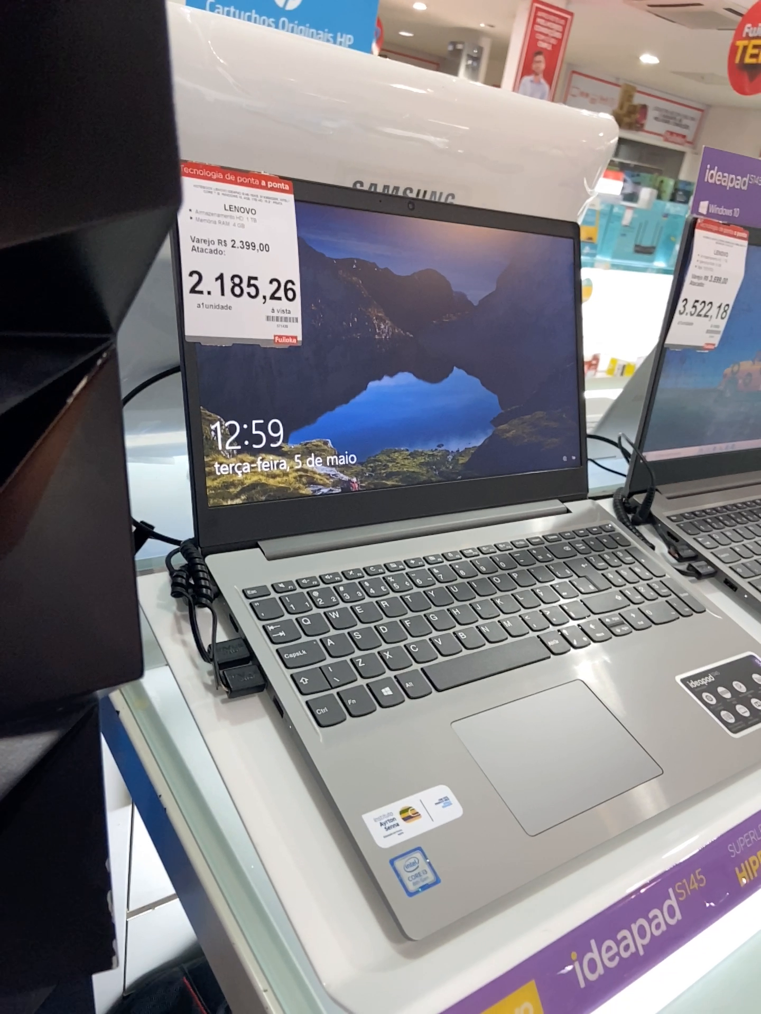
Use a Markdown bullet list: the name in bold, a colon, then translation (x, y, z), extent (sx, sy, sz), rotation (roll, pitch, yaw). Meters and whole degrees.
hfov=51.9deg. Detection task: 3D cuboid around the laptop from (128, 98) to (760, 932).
- **laptop**: translation (0.079, -0.056, 0.499), extent (0.359, 0.212, 0.388), rotation (-7, 37, -34)
